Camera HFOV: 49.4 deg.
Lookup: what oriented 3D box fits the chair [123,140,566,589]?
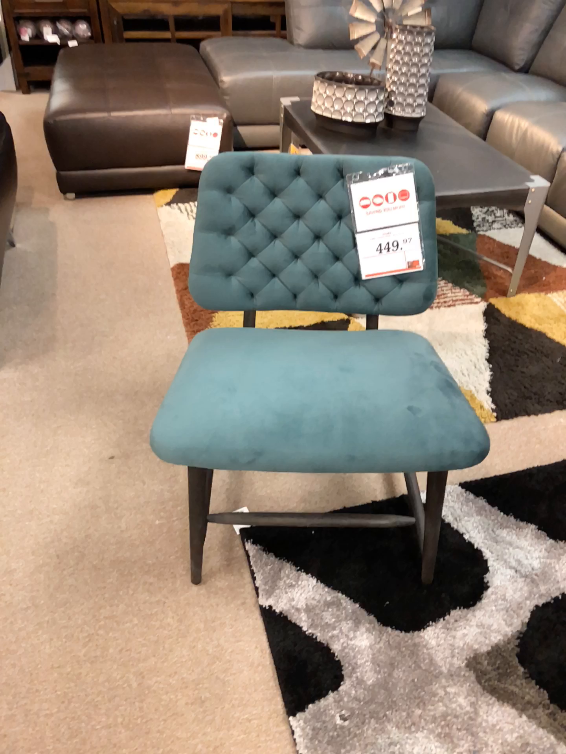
[{"bbox_3d":[0.069,-0.008,1.306,0.639,0.764,0.535,2,39,-3],"label":"chair"}]
